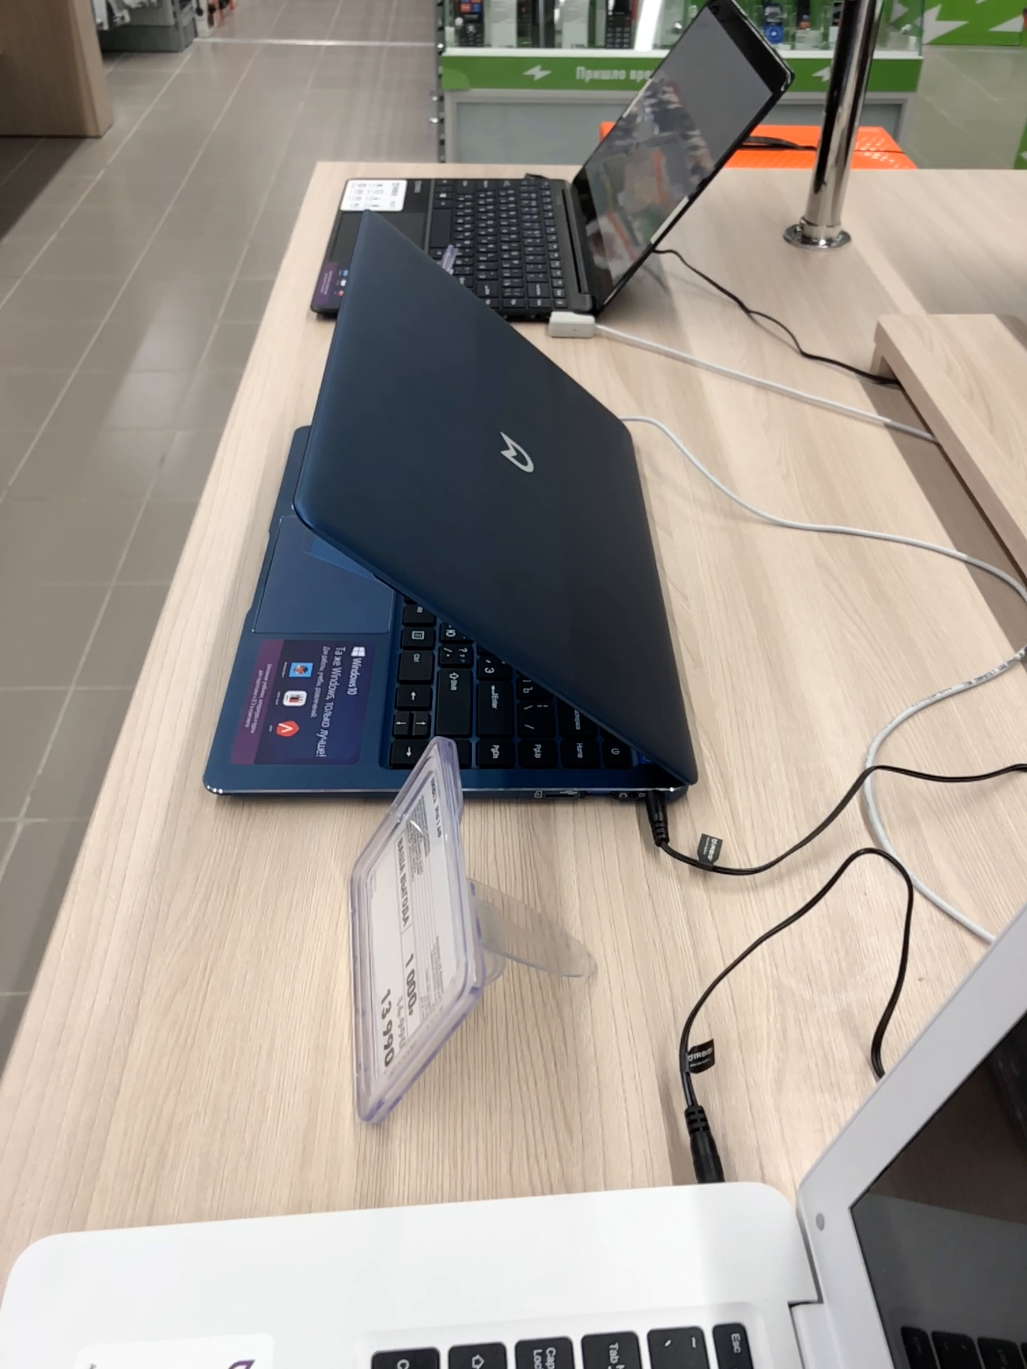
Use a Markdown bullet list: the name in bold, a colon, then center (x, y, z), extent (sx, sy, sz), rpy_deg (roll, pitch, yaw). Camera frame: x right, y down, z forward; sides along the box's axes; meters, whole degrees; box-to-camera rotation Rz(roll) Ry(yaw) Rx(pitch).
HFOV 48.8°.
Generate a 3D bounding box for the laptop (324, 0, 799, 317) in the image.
- **laptop**: center (0.024, -0.447, 0.933), extent (0.322, 0.165, 0.295), rpy_deg (0, 41, 0)

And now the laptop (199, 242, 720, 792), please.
- **laptop**: center (-0.020, -0.103, 0.568), extent (0.189, 0.124, 0.310), rpy_deg (-1, 40, 1)

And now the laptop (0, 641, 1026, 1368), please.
- **laptop**: center (0.020, 0.189, 0.138), extent (0.302, 0.212, 0.341), rpy_deg (0, 39, 0)
